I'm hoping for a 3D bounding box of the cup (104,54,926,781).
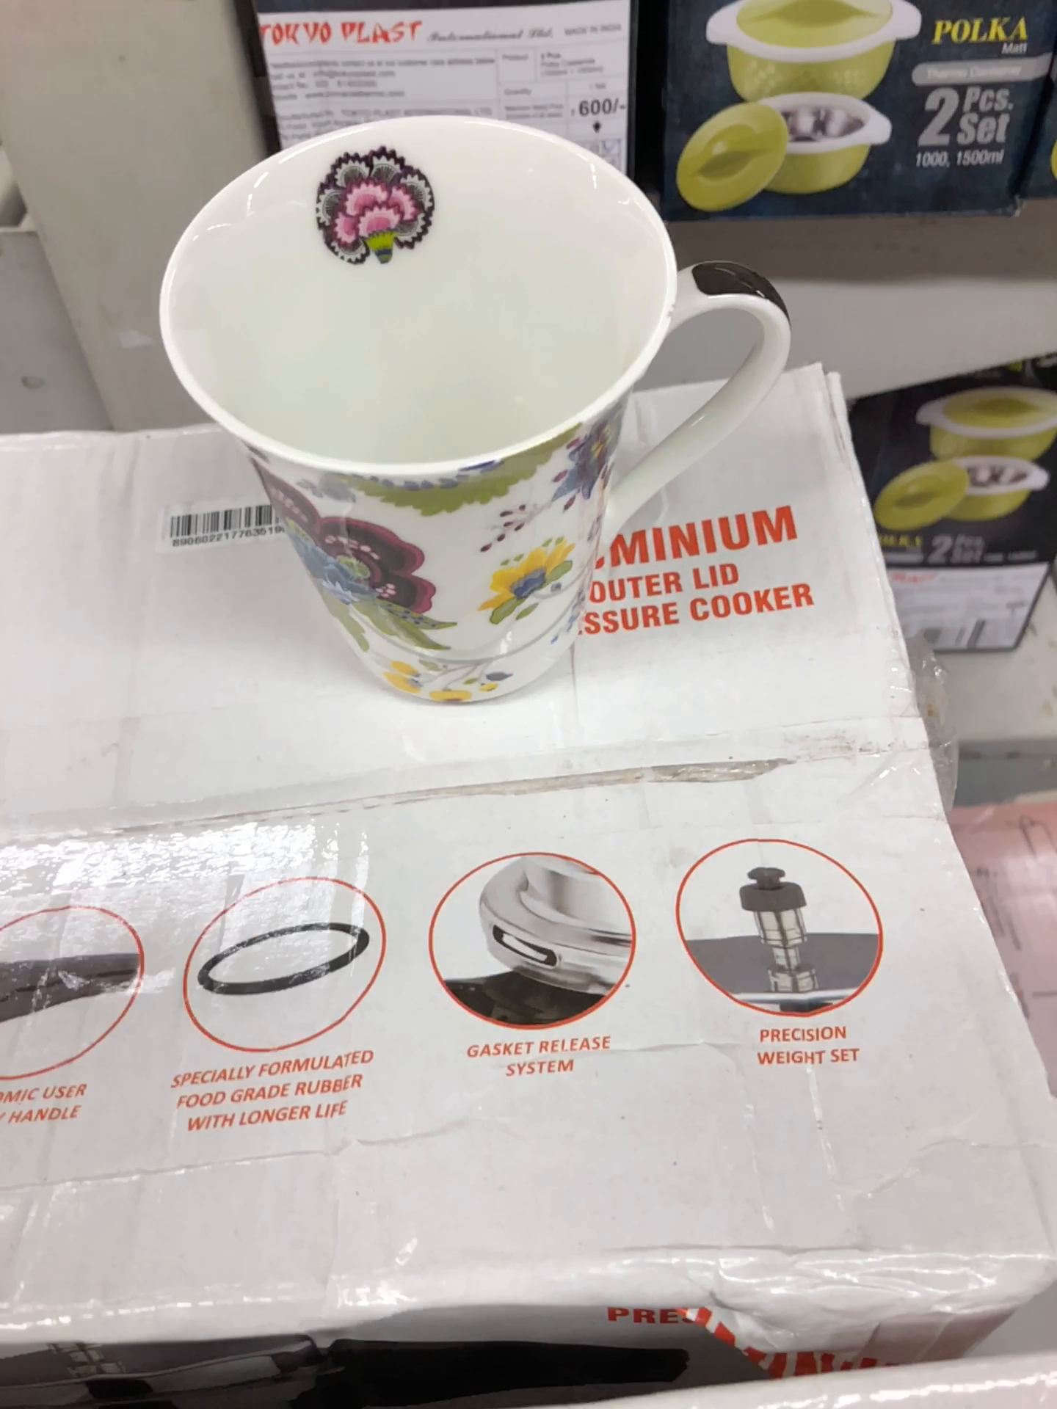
[{"bbox_3d":[-0.006,-0.054,0.236,0.120,0.089,0.080,-14,62,-8],"label":"cup"}]
